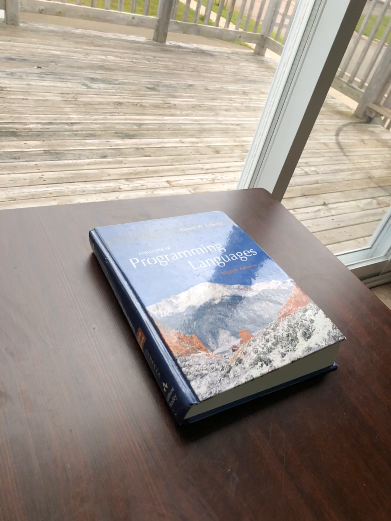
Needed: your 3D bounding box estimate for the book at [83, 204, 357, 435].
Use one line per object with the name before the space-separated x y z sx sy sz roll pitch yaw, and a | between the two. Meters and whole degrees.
book | 0.015 0.035 0.459 0.195 0.048 0.237 -10 45 -30
